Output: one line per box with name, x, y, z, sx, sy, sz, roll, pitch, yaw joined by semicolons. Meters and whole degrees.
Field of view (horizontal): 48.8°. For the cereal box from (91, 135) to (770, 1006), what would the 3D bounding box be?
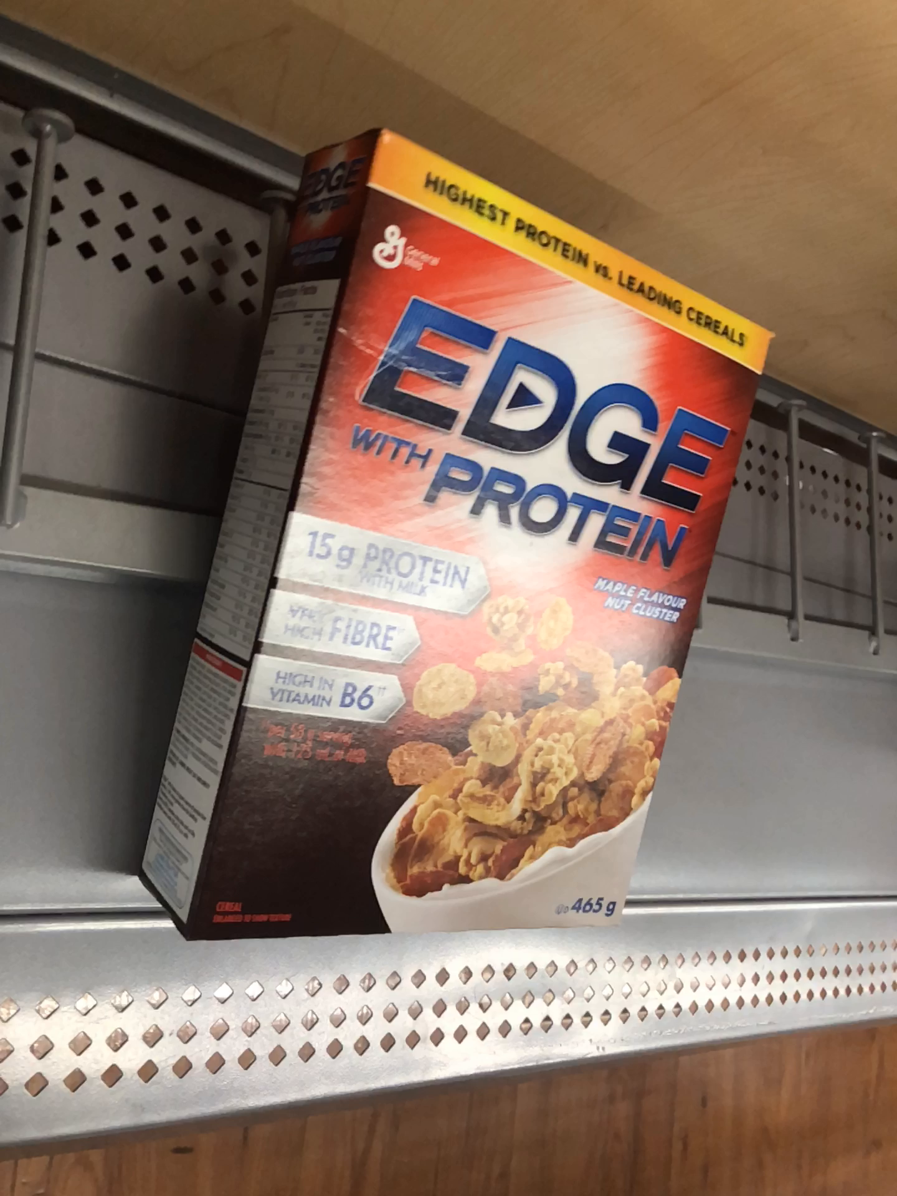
cereal box;0.003;0.005;0.374;0.201;0.070;0.260;12;91;-35
